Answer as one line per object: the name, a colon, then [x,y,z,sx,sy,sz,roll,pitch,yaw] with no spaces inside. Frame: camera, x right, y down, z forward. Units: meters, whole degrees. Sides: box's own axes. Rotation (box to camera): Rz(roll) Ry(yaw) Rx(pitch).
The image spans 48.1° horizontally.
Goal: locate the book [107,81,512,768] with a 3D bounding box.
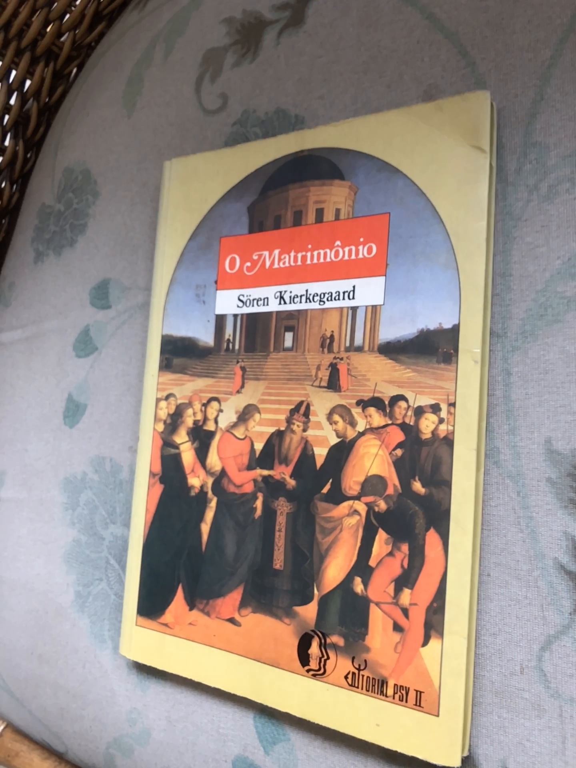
book: [0.000,0.009,0.230,0.140,0.020,0.200,2,86,33]
